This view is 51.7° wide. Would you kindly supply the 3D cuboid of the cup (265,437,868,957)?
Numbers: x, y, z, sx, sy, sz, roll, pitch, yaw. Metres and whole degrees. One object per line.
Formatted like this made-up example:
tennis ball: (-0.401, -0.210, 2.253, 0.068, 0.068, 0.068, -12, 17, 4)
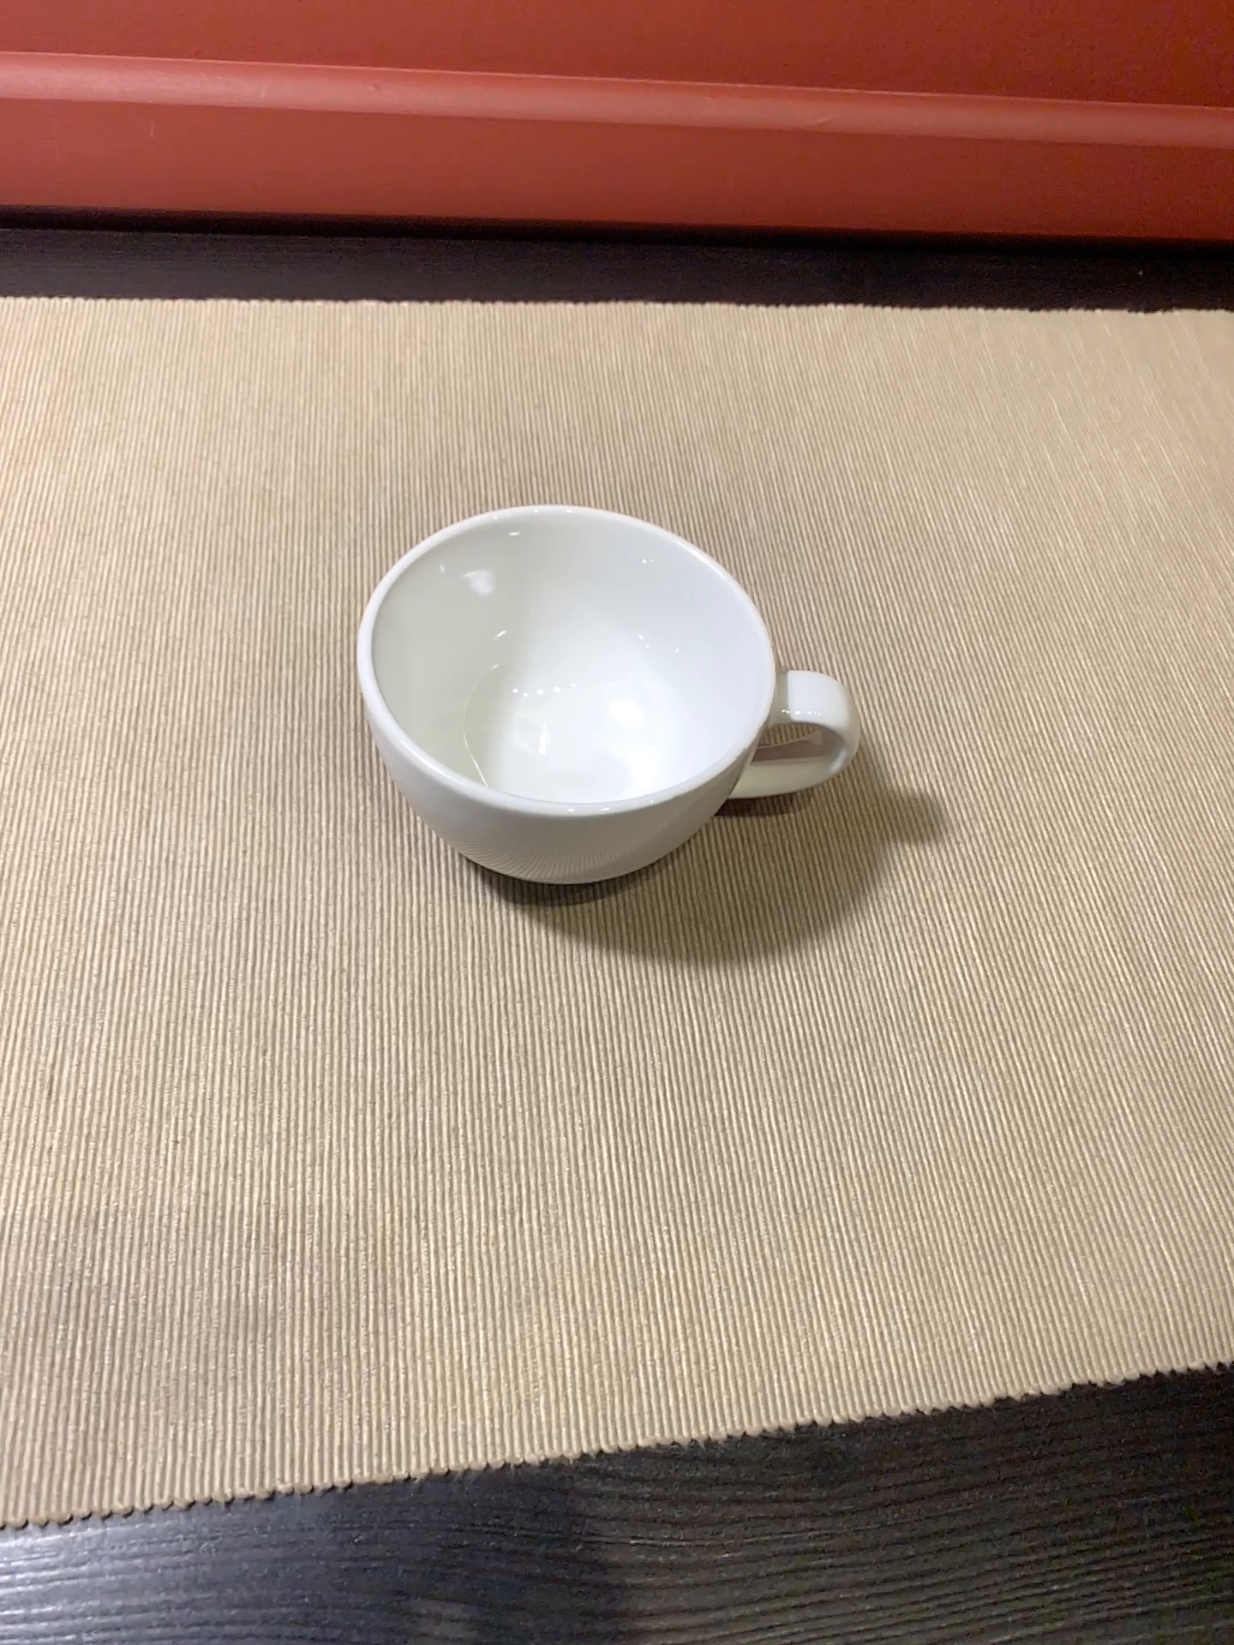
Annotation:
cup: (-0.010, -0.028, 0.283, 0.110, 0.060, 0.090, 4, 52, -3)
